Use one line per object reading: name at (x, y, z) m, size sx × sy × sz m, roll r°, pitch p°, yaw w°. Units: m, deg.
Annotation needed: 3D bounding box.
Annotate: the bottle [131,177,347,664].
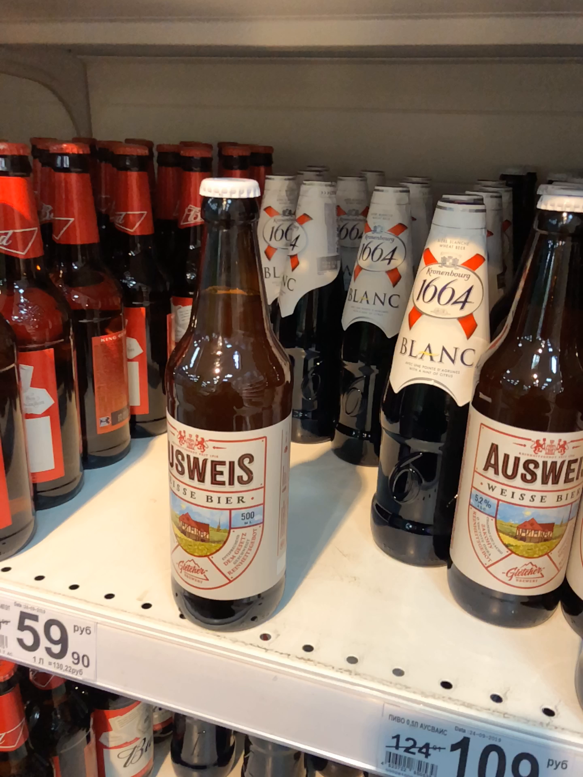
bottle at (-0.028, 0.015, 0.357) m, size 0.080 × 0.249 × 0.070 m, roll 13°, pitch 22°, yaw 29°
